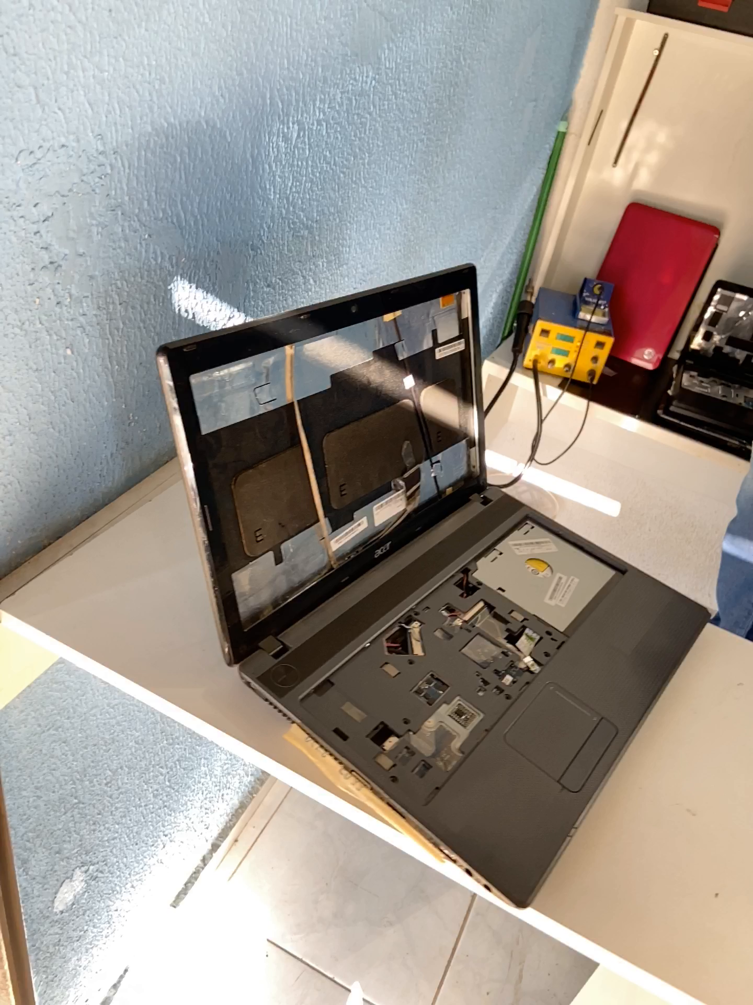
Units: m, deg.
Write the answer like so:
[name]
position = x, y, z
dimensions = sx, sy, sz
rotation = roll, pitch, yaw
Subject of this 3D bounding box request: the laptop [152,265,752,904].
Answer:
[laptop]
position = 0.090, 0.003, 0.614
dimensions = 0.349, 0.210, 0.380
rotation = 32, 39, 25
